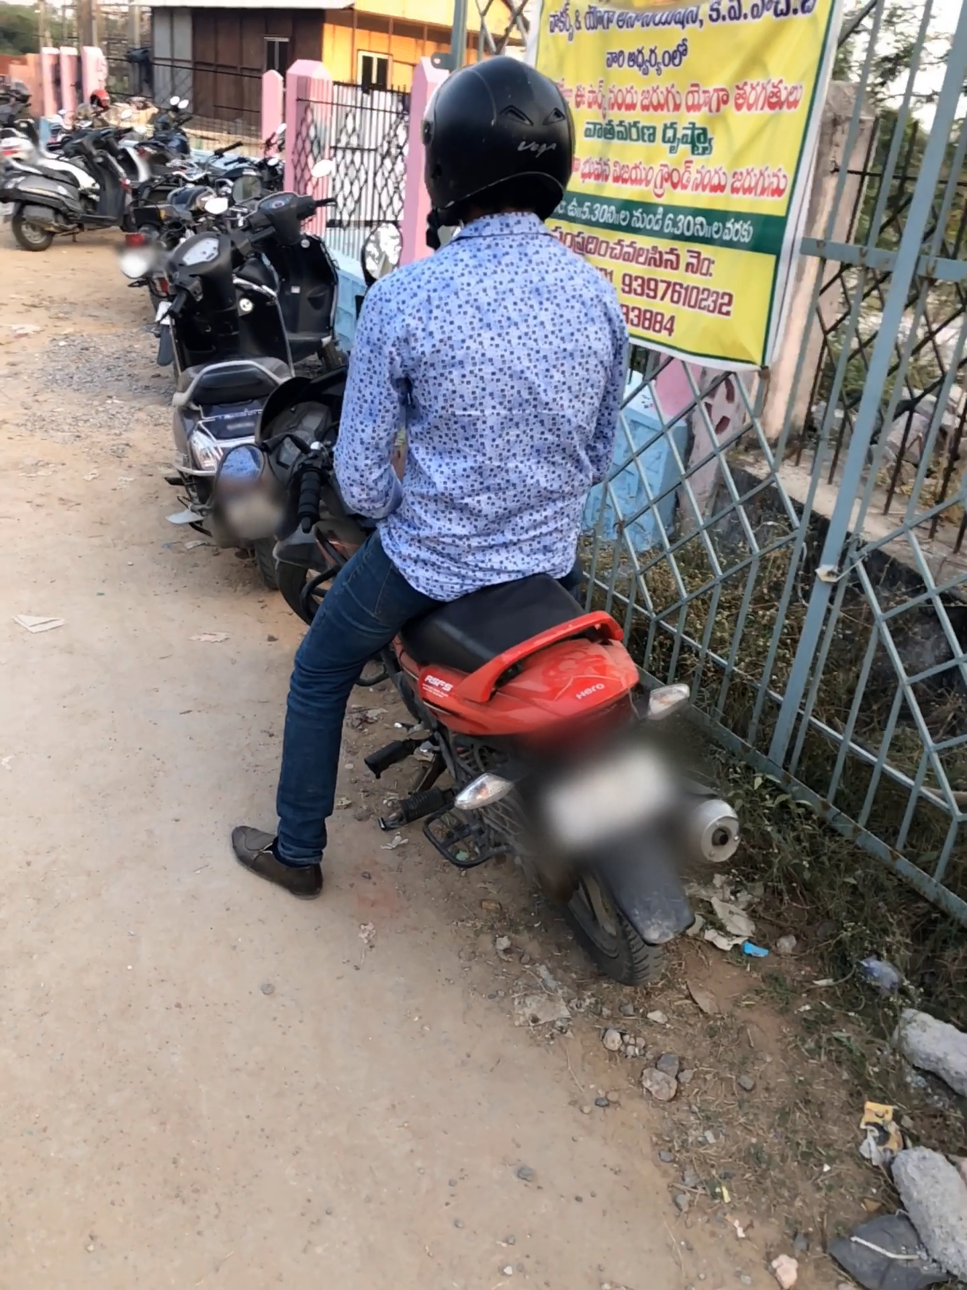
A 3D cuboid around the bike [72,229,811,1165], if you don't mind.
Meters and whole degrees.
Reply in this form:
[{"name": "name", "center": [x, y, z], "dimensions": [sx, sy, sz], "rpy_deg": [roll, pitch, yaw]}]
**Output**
[{"name": "bike", "center": [-0.305, -0.087, 2.231], "dimensions": [0.583, 1.176, 1.693], "rpy_deg": [-10, 32, -32]}]
